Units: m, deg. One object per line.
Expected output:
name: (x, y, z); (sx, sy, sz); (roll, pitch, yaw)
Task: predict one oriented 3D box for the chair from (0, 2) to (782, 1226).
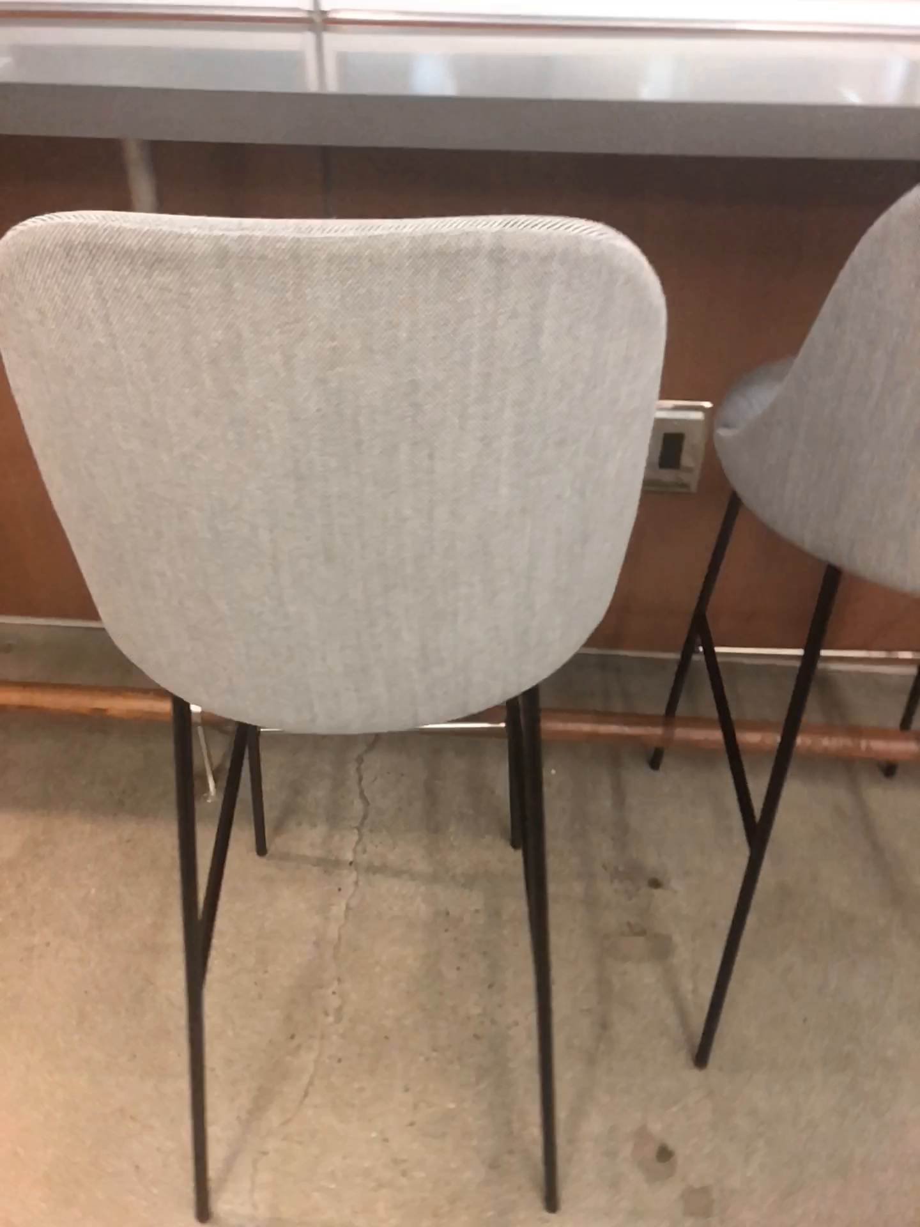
chair: (-0.118, 0.056, 1.033); (0.510, 1.091, 0.635); (0, 38, -1)
